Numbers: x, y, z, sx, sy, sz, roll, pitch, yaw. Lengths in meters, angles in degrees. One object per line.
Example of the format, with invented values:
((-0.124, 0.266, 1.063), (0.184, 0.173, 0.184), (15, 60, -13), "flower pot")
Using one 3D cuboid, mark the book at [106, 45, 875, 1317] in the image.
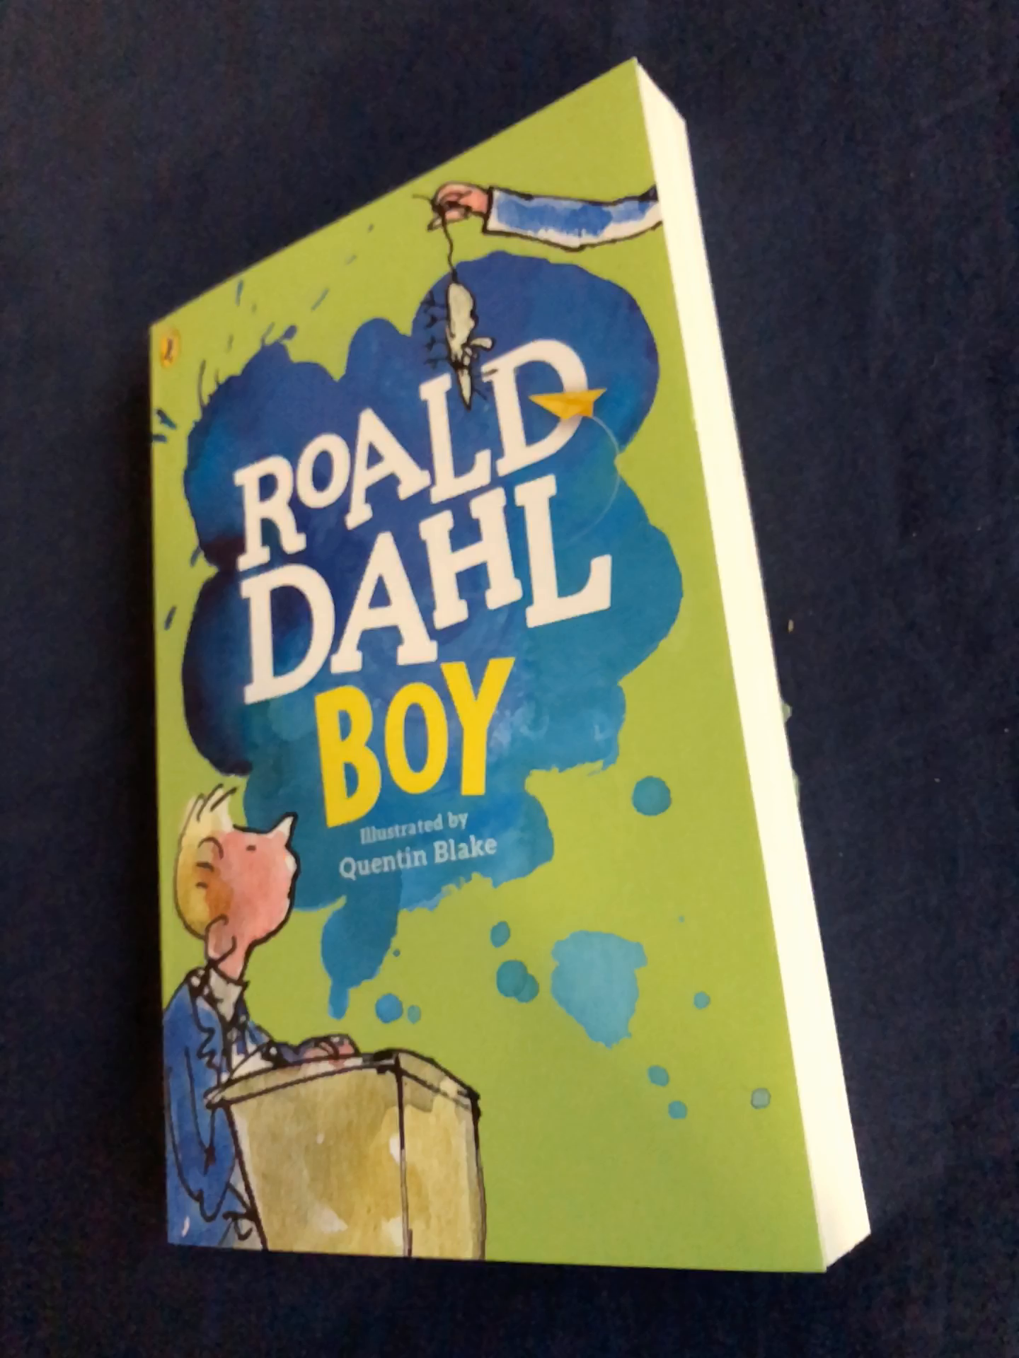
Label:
((-0.017, 0.003, 0.206), (0.126, 0.027, 0.189), (-13, 75, 29), "book")
